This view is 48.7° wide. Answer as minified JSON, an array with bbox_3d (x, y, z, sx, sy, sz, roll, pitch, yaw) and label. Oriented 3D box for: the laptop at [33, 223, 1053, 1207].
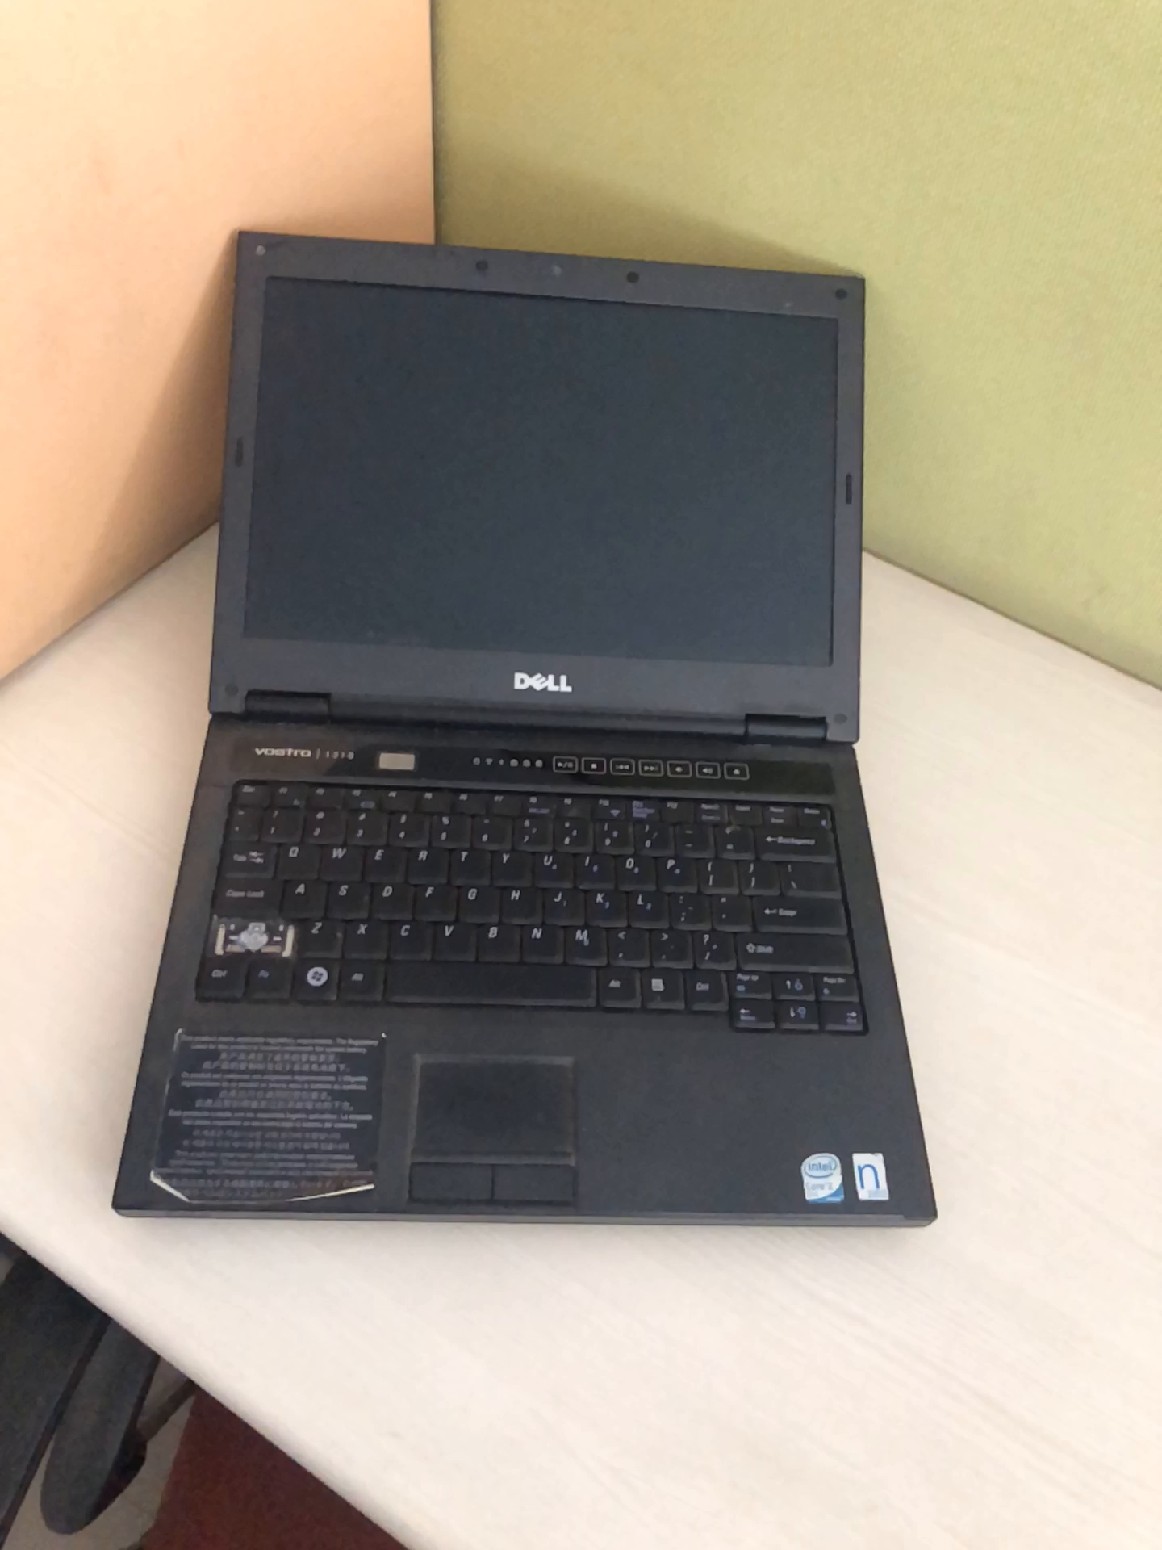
[{"bbox_3d":[-0.014,-0.052,0.559,0.305,0.125,0.432,2,54,-5],"label":"laptop"}]
